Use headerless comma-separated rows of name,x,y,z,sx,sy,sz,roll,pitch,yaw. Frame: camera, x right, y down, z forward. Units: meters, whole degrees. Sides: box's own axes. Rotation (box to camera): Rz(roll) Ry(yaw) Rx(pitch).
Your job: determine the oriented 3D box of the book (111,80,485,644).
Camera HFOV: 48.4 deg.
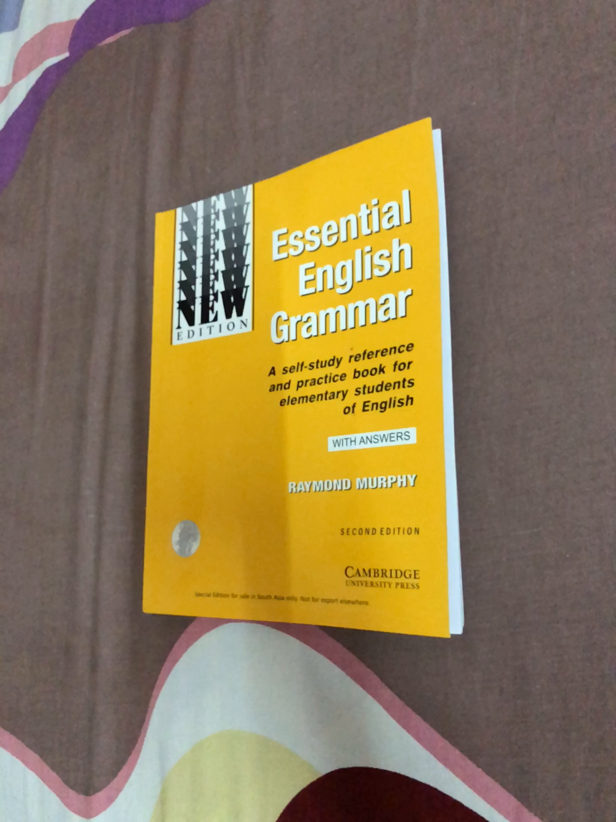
book,-0.012,-0.019,0.359,0.190,0.040,0.250,-6,77,31
